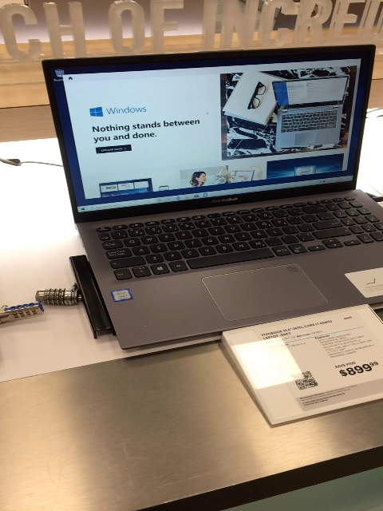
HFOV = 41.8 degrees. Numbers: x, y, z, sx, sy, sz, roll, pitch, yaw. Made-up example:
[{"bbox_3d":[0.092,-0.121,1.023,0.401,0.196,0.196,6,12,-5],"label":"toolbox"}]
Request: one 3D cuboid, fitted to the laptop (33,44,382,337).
[{"bbox_3d":[0.054,-0.073,0.450,0.317,0.155,0.216,-10,45,-13],"label":"laptop"}]
